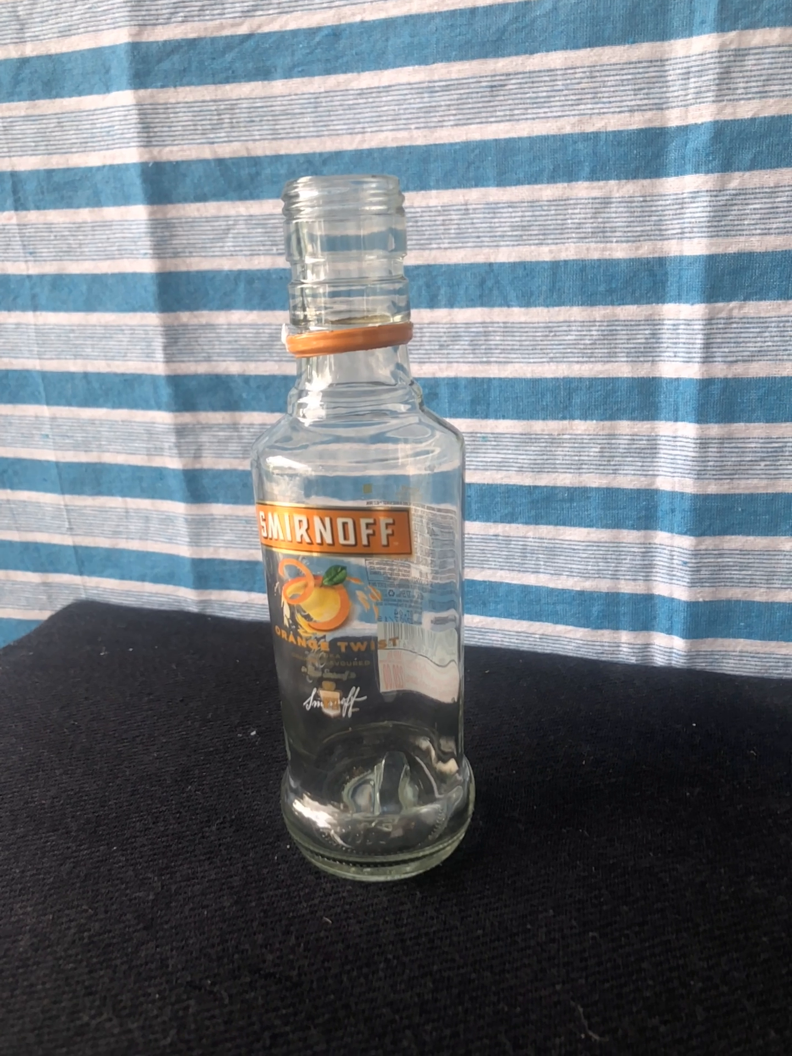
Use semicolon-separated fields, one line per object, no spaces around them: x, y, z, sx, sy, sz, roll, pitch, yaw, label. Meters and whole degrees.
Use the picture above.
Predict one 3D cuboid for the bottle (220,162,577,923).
0.003;0.003;0.219;0.060;0.169;0.050;10;22;29;bottle
